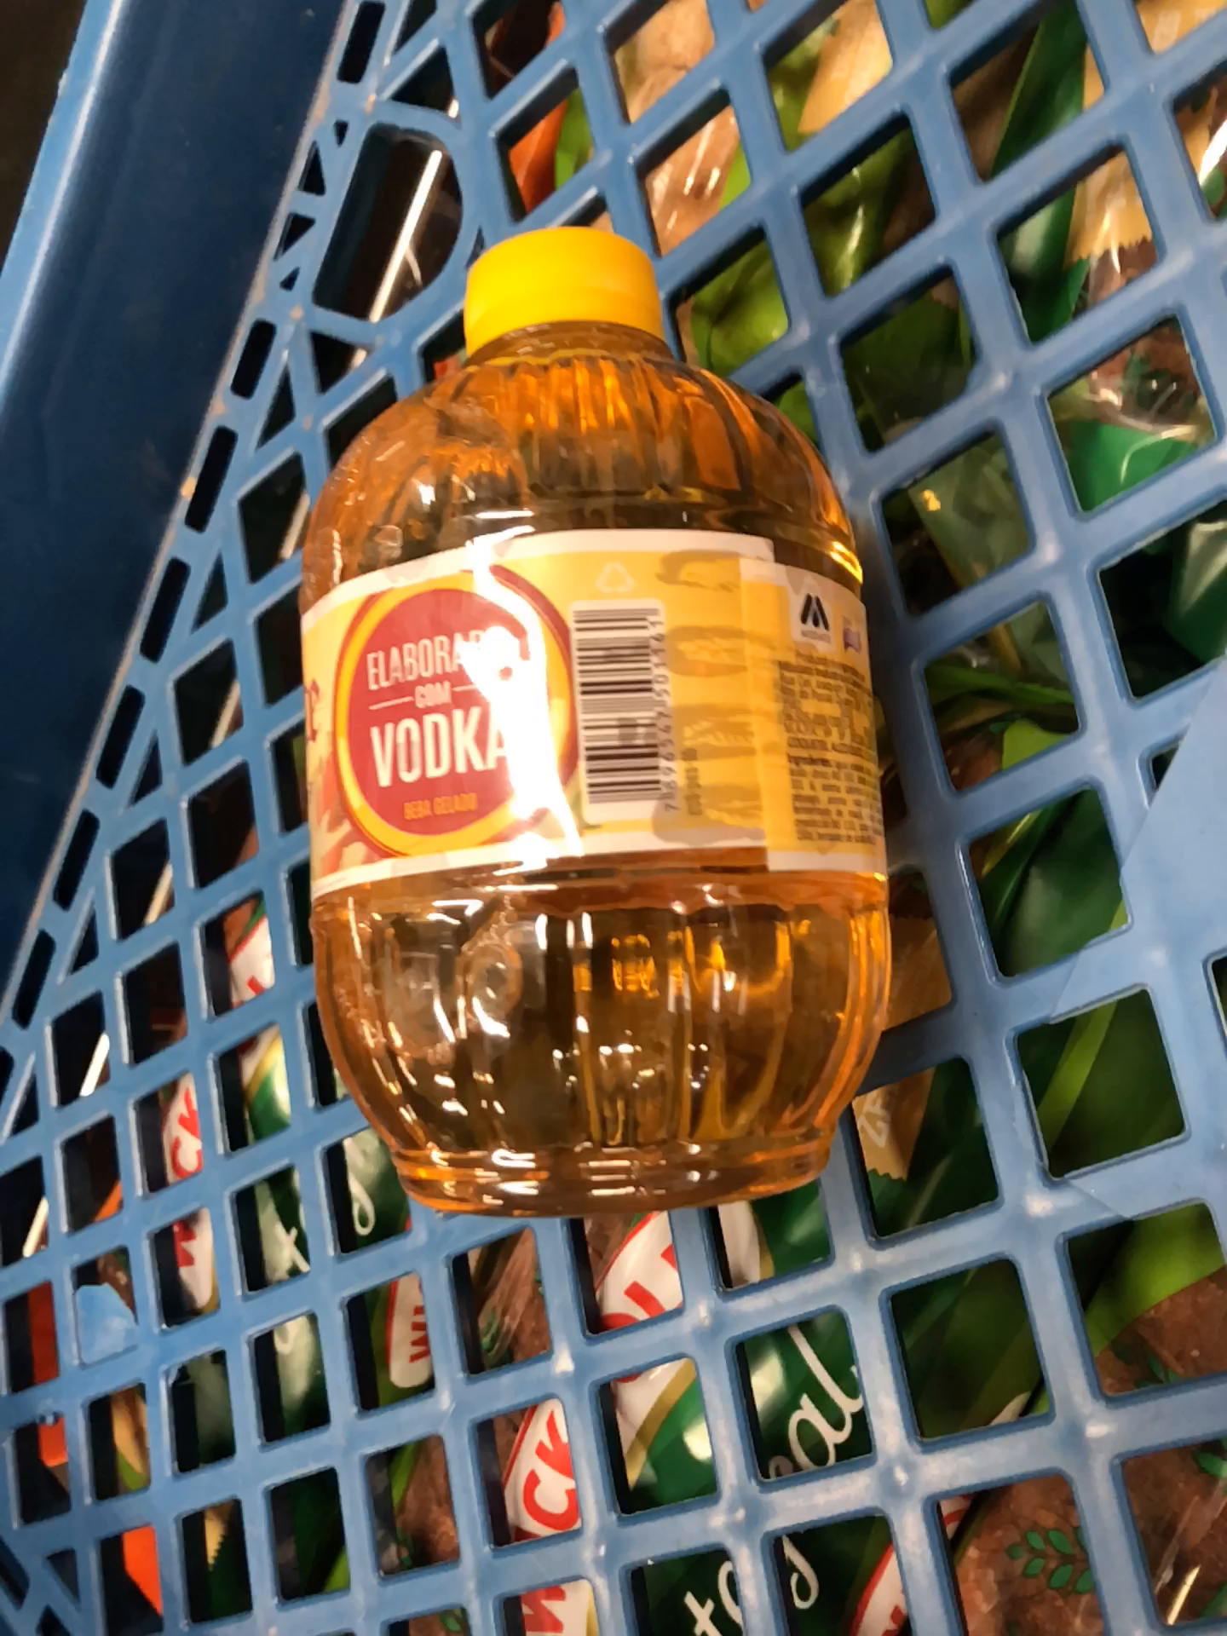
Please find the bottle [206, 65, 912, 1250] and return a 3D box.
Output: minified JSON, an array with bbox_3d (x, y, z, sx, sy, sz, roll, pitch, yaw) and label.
[{"bbox_3d":[-0.017,-0.016,0.195,0.080,0.070,0.130,155,111,-69],"label":"bottle"}]
